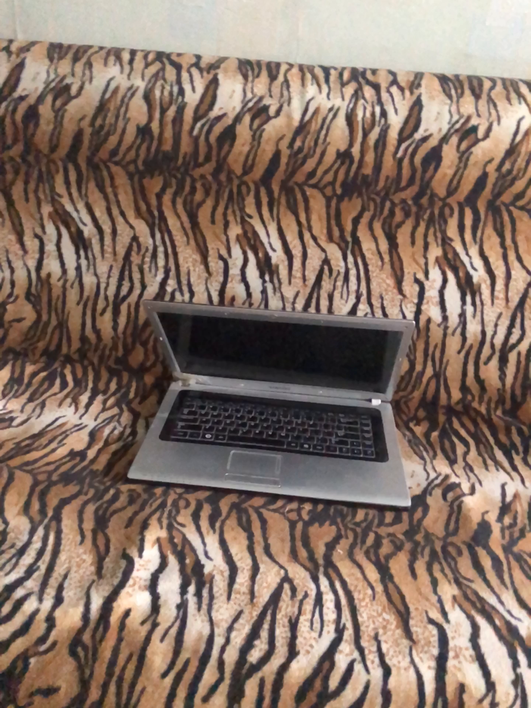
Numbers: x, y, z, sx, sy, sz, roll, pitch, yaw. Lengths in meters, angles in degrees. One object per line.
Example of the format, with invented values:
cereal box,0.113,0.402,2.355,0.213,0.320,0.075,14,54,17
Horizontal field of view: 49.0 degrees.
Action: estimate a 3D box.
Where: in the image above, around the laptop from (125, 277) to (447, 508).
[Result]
laptop,0.022,0.037,0.779,0.350,0.179,0.239,6,28,3
